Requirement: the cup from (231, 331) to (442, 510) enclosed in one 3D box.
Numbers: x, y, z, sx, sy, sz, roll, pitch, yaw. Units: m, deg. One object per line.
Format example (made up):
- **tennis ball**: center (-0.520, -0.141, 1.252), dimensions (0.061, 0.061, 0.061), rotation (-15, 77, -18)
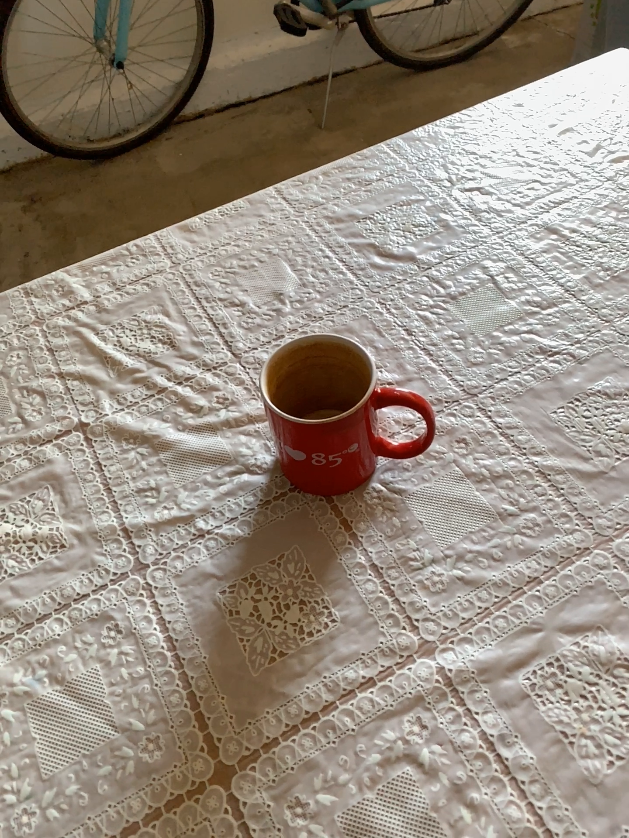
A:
- **cup**: center (0.020, 0.002, 0.458), dimensions (0.130, 0.090, 0.090), rotation (0, 55, 7)
